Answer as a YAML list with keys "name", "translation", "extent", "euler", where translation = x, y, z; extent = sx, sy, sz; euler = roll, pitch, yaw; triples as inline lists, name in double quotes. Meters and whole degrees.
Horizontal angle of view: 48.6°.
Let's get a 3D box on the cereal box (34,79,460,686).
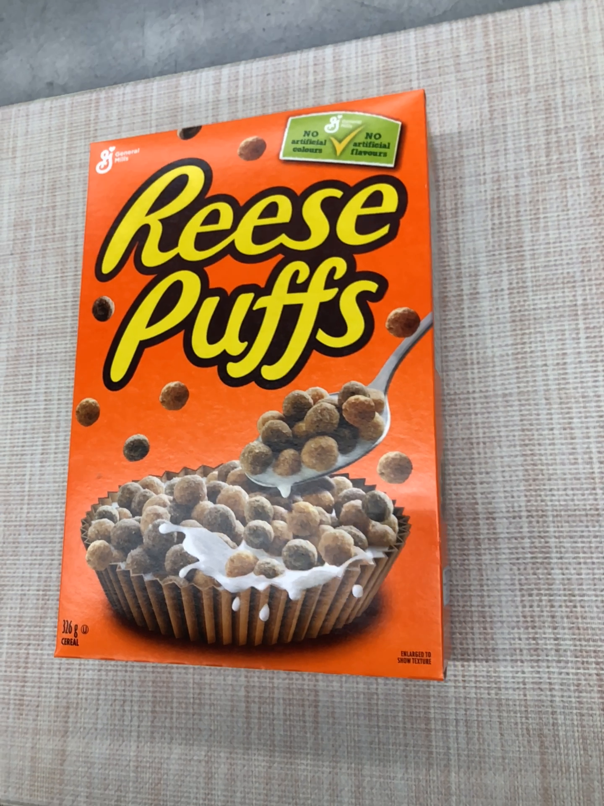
- name: "cereal box"
  translation: [-0.026, -0.011, 0.353]
  extent: [0.200, 0.060, 0.280]
  euler: [-2, 80, 12]
